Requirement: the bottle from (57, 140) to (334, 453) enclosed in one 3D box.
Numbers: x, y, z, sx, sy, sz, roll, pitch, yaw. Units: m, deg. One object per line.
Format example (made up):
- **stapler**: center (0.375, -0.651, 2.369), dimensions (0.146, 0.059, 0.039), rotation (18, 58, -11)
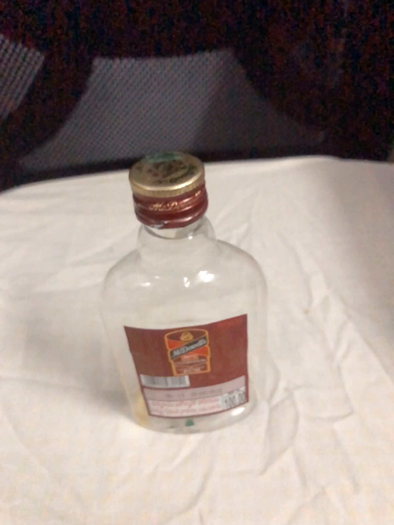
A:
- **bottle**: center (0.001, 0.025, 0.191), dimensions (0.080, 0.139, 0.040), rotation (-5, 42, -3)
